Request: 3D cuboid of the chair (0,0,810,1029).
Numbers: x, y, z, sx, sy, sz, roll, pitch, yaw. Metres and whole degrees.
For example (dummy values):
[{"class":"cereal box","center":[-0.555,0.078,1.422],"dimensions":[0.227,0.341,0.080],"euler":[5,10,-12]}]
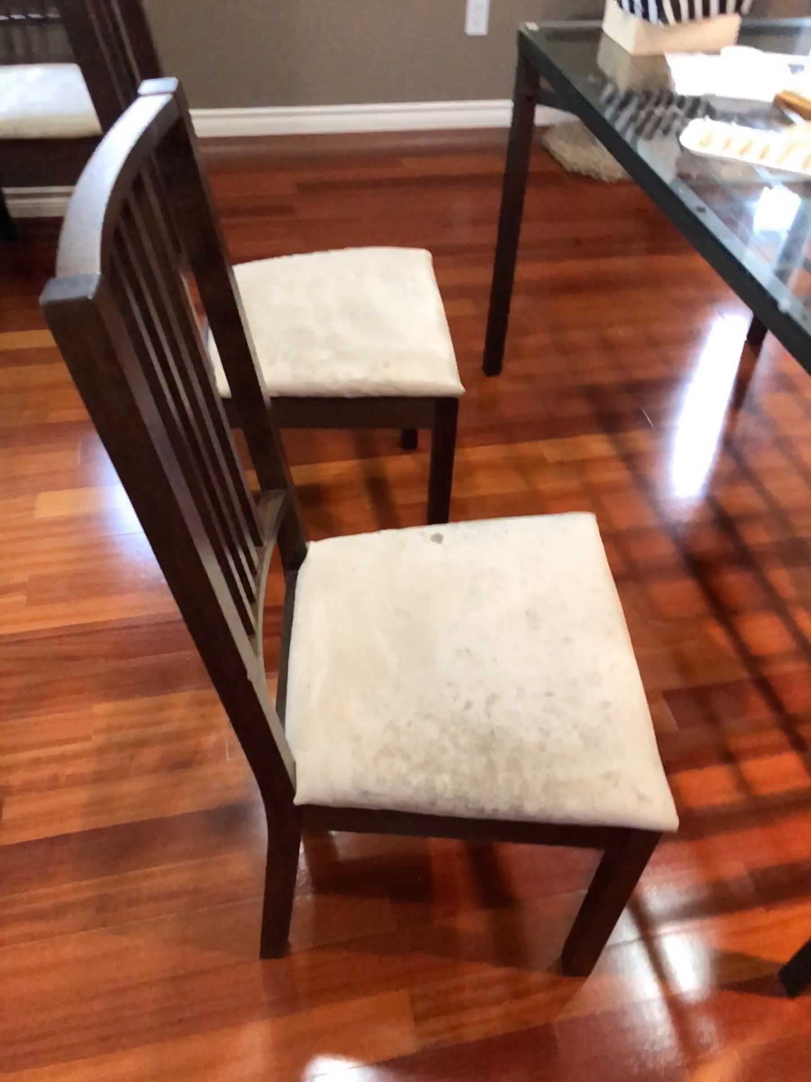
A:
[{"class":"chair","center":[0.003,0.033,0.973],"dimensions":[0.540,0.993,0.594],"euler":[-2,45,-5]}]
